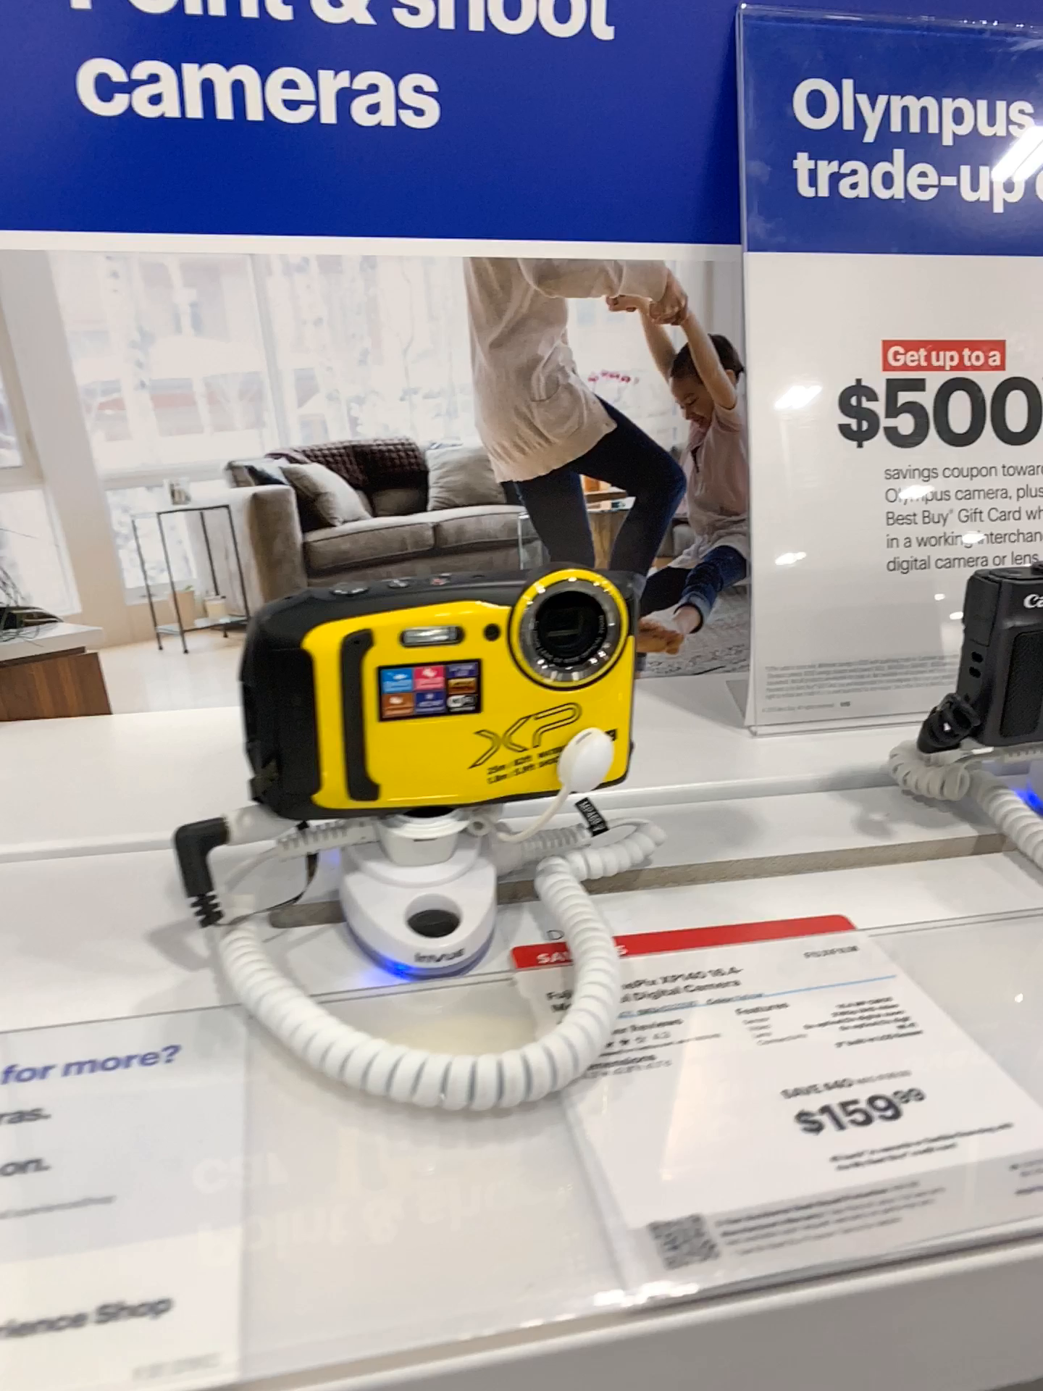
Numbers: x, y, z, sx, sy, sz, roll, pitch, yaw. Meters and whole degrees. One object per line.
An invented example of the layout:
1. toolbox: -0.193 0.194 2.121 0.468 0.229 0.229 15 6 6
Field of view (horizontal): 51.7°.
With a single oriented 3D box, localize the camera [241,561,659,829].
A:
1. camera: -0.020 -0.002 0.303 0.110 0.060 0.030 -5 20 -13
